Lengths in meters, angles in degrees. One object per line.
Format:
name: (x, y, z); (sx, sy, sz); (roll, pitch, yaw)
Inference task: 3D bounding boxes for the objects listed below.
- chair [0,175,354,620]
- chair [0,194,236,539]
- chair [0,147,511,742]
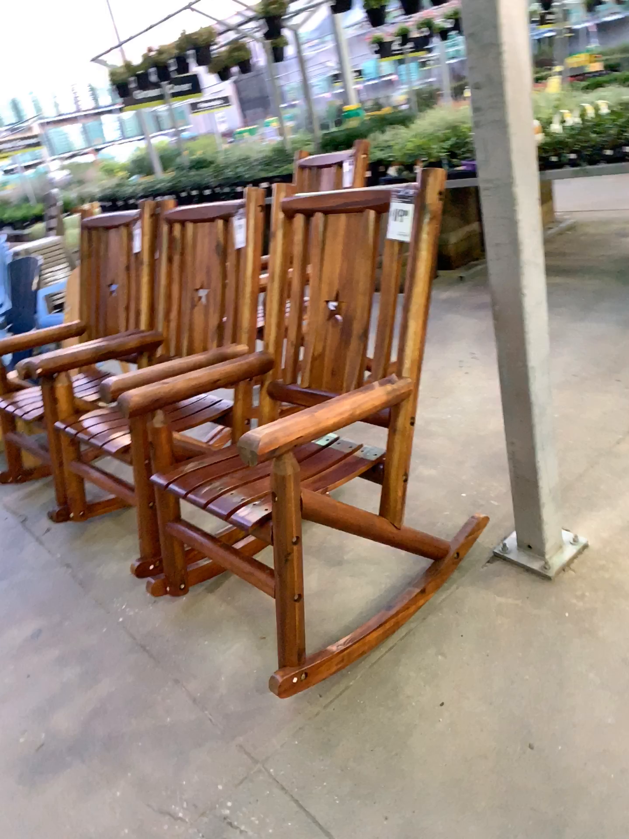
chair: (-0.549, -0.150, 2.350); (1.019, 1.157, 0.675); (-31, 30, -33)
chair: (-1.105, -0.301, 2.954); (1.019, 1.157, 0.675); (-31, 30, -33)
chair: (-0.064, -0.019, 1.825); (1.019, 1.157, 0.675); (-31, 31, -33)
